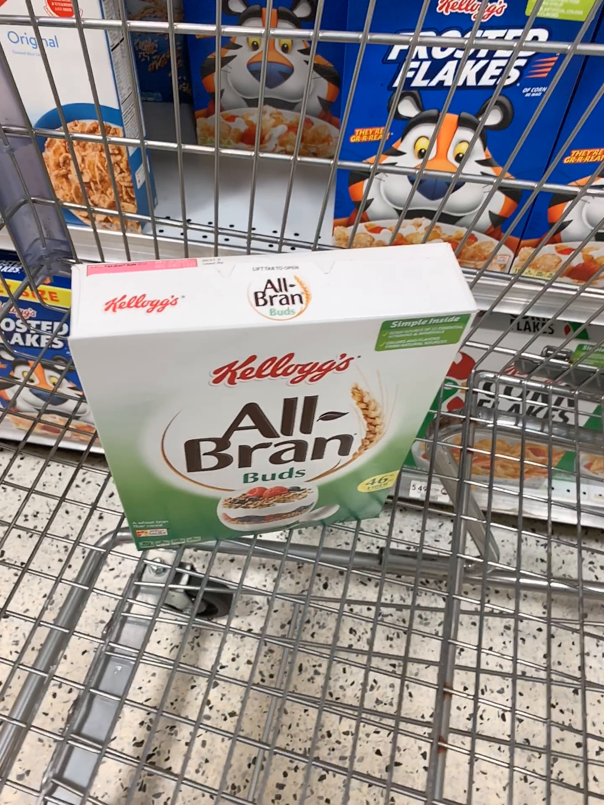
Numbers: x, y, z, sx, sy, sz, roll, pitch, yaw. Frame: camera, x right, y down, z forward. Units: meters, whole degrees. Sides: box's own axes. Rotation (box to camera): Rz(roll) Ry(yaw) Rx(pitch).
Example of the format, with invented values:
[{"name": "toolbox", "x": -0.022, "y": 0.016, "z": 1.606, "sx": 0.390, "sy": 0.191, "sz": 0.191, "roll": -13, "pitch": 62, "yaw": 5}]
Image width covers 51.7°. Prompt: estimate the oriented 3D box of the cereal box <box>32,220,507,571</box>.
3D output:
[{"name": "cereal box", "x": -0.023, "y": 0.023, "z": 0.399, "sx": 0.200, "sy": 0.298, "sz": 0.050, "roll": -6, "pitch": 58, "yaw": -9}]
